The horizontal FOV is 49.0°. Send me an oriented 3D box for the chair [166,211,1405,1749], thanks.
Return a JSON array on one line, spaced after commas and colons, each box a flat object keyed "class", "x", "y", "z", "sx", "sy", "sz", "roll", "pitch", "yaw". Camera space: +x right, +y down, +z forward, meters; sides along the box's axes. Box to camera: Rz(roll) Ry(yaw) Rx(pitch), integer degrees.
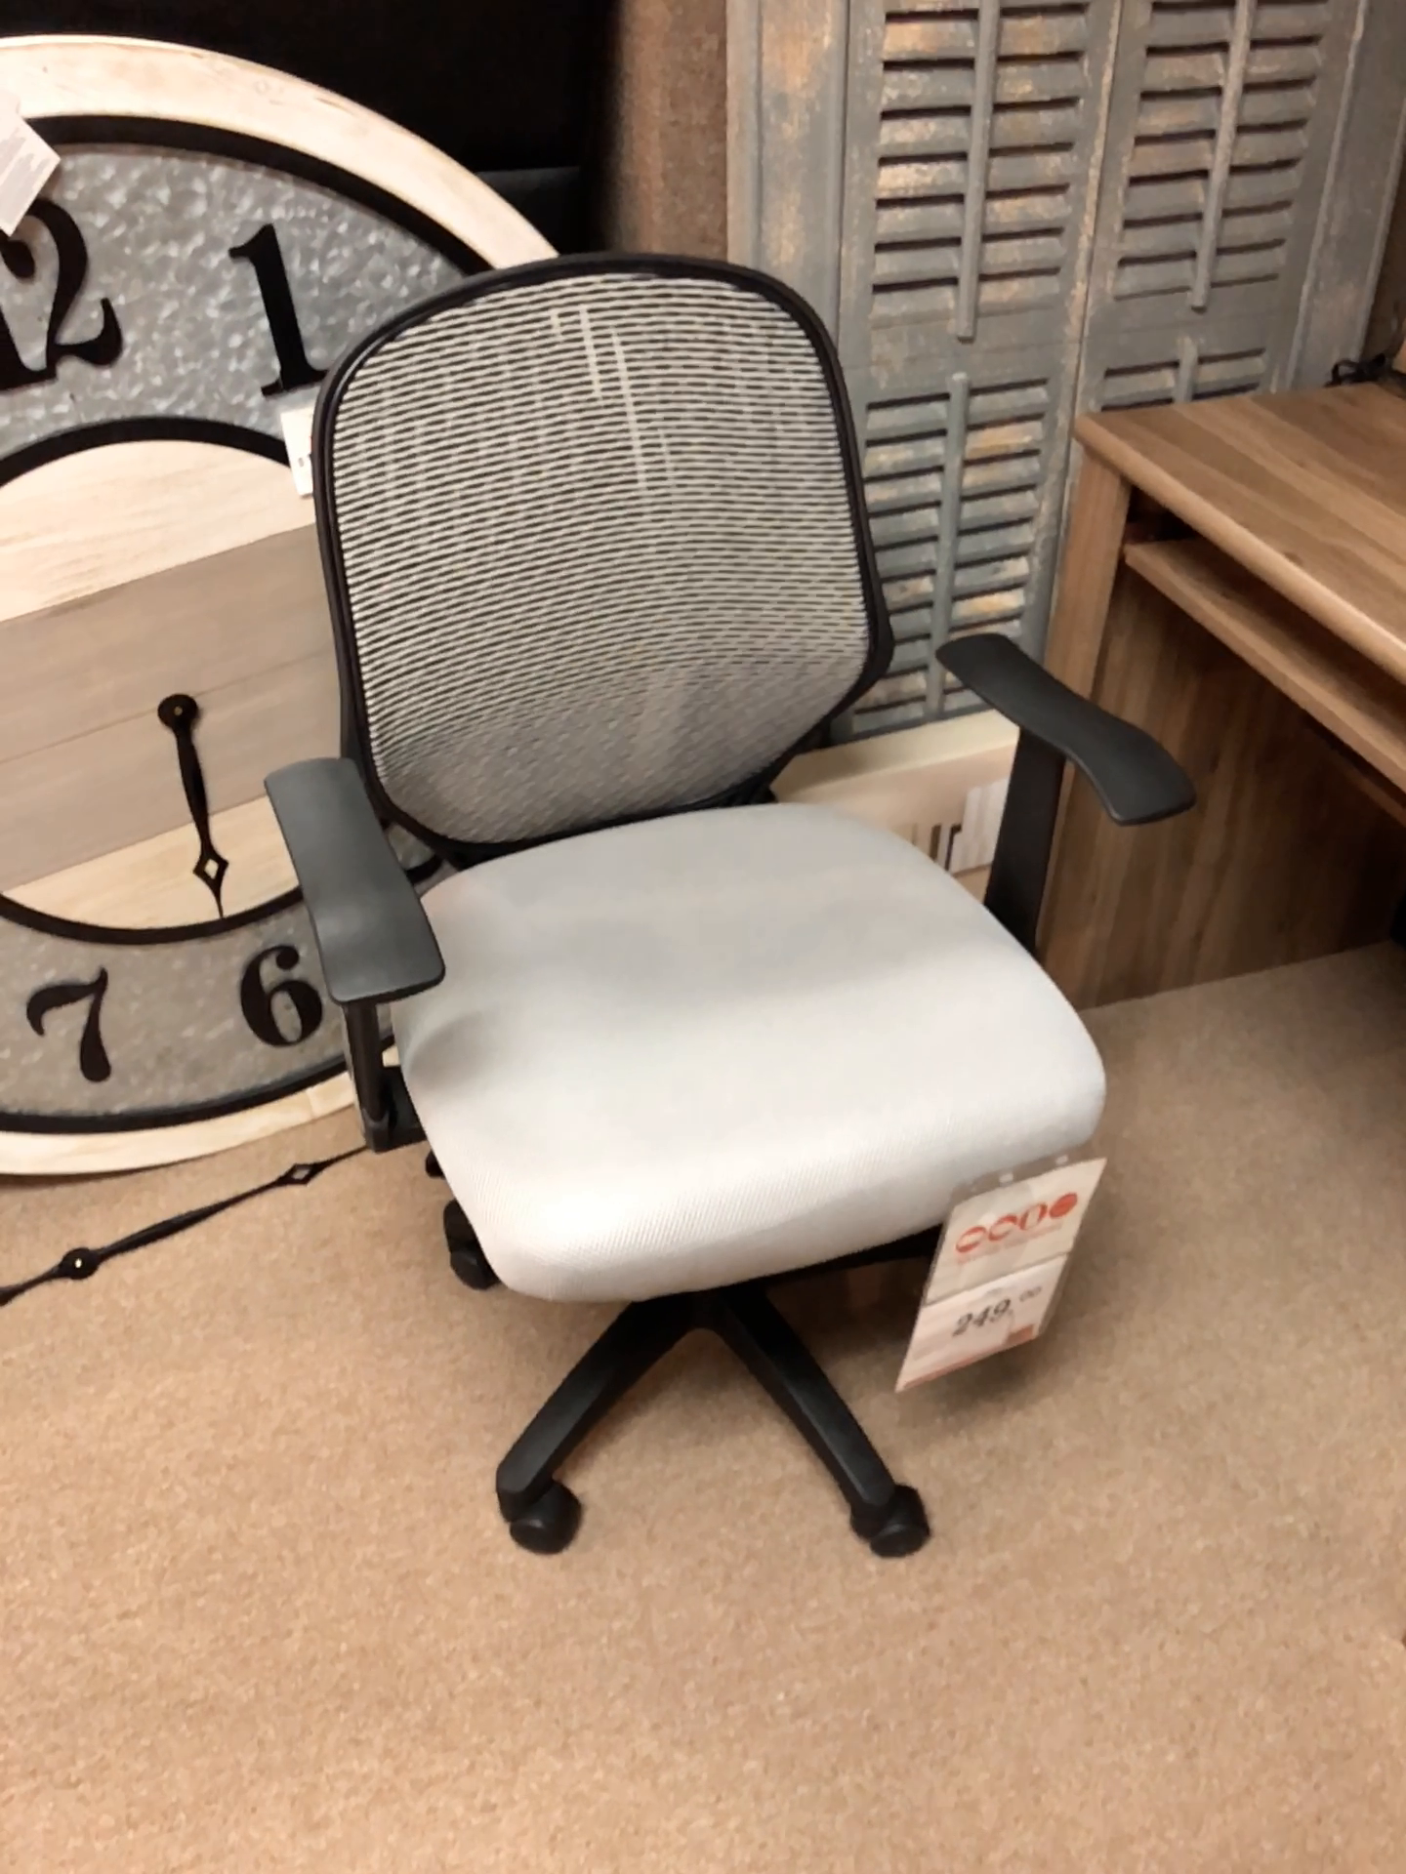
[{"class": "chair", "x": 0.023, "y": -0.005, "z": 1.218, "sx": 0.610, "sy": 0.864, "sz": 0.674, "roll": -14, "pitch": 40, "yaw": -19}]
